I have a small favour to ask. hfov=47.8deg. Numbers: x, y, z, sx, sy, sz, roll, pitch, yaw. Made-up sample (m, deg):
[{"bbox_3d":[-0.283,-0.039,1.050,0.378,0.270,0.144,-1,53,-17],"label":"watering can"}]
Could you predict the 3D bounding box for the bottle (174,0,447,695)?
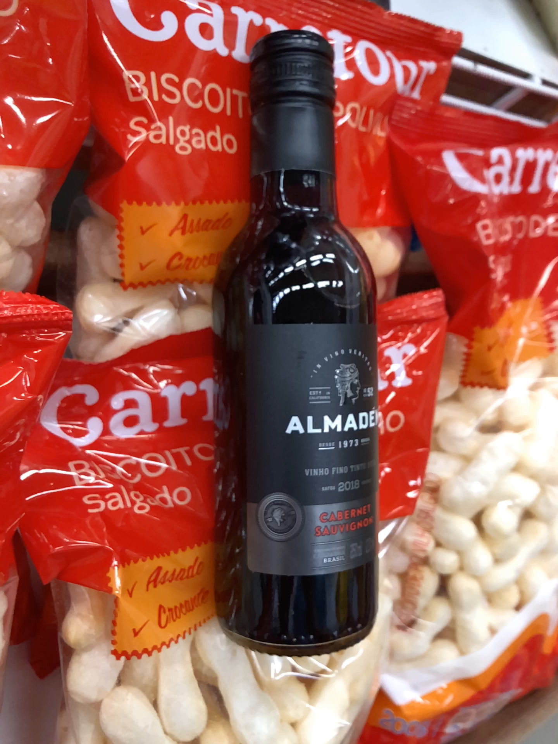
[{"bbox_3d":[0.010,-0.016,0.203,0.060,0.050,0.200,-2,89,-38],"label":"bottle"}]
